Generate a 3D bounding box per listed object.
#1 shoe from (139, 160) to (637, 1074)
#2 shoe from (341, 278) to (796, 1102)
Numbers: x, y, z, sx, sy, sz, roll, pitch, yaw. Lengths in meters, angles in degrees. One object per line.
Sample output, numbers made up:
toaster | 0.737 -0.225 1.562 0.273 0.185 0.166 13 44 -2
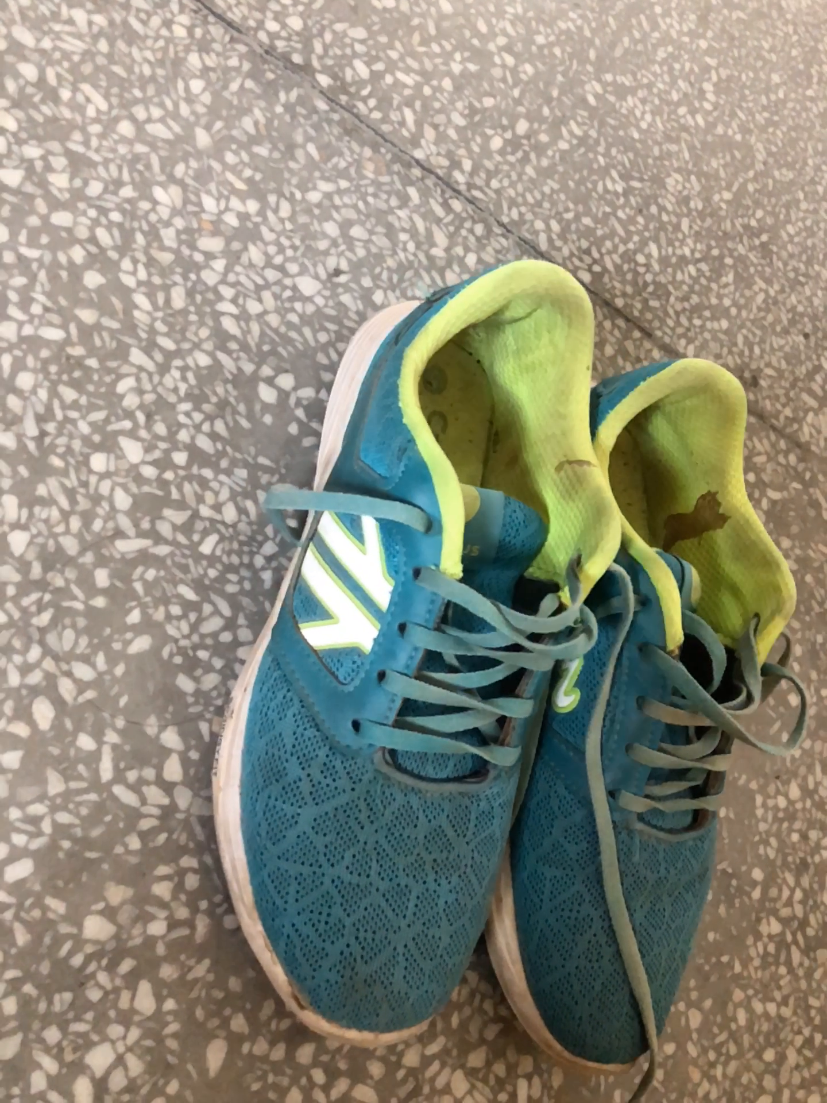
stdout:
shoe | -0.001 0.017 0.288 0.090 0.080 0.240 19 69 -26
shoe | 0.060 0.047 0.332 0.100 0.080 0.250 18 75 -27
